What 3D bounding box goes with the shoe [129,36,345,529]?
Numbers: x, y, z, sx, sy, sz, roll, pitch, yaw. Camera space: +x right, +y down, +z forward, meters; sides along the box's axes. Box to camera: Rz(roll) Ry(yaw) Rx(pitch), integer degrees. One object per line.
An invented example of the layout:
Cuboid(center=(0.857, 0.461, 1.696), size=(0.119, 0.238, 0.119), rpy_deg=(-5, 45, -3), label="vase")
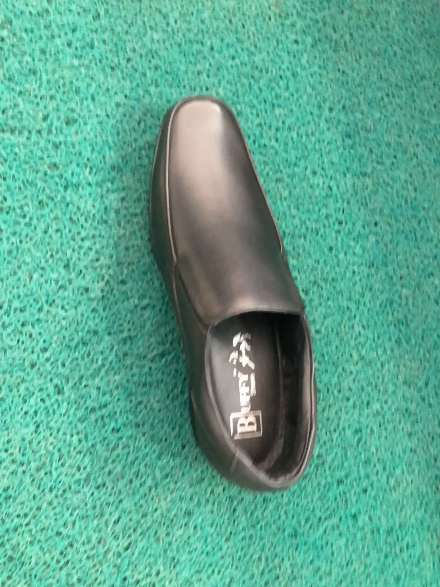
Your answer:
Cuboid(center=(0.005, -0.011, 0.365), size=(0.100, 0.090, 0.310), rpy_deg=(-5, 87, -20), label="shoe")
